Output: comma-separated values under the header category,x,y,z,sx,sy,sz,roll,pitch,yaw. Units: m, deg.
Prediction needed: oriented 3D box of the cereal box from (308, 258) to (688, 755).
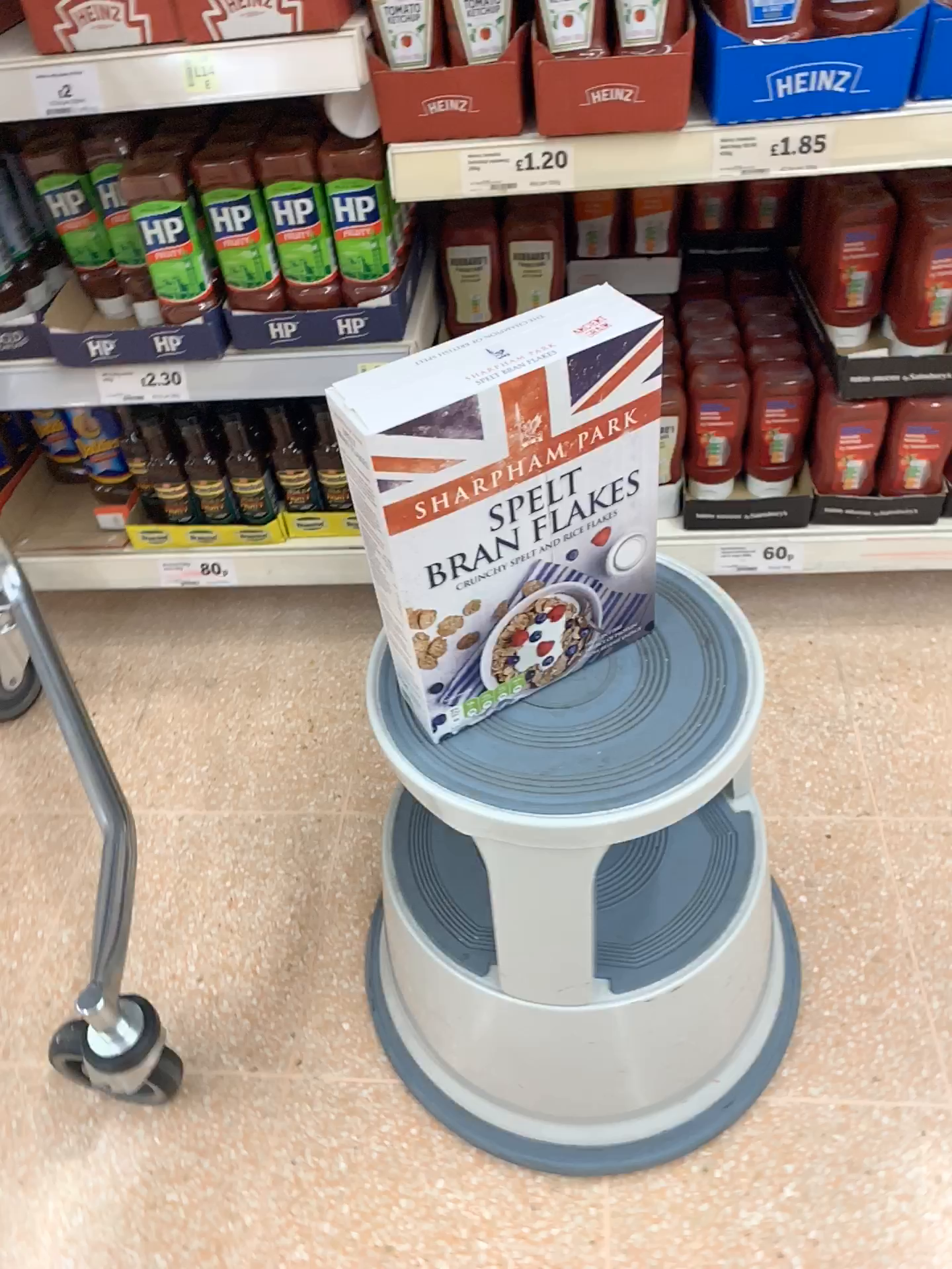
category,x,y,z,sx,sy,sz,roll,pitch,yaw
cereal box,0.026,-0.072,0.619,0.200,0.258,0.071,-25,46,-17
